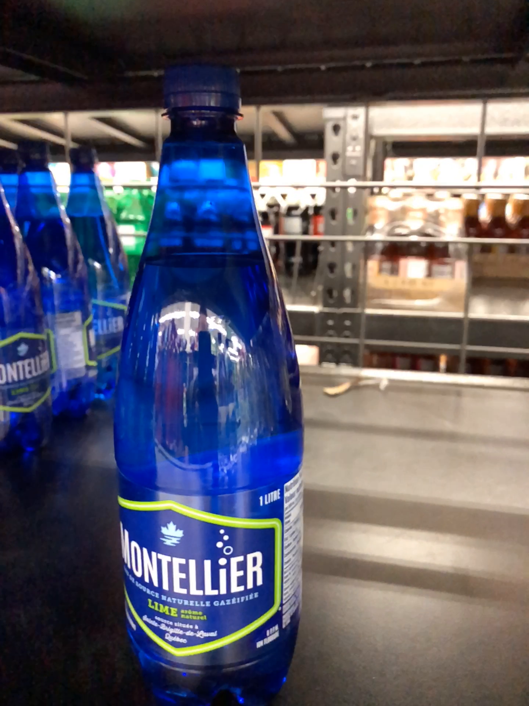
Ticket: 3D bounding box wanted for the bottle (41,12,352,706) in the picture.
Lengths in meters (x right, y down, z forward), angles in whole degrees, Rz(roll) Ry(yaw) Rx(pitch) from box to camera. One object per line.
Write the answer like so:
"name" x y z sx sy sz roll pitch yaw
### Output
"bottle" -0.020 0.017 0.278 0.100 0.289 0.090 4 15 15
